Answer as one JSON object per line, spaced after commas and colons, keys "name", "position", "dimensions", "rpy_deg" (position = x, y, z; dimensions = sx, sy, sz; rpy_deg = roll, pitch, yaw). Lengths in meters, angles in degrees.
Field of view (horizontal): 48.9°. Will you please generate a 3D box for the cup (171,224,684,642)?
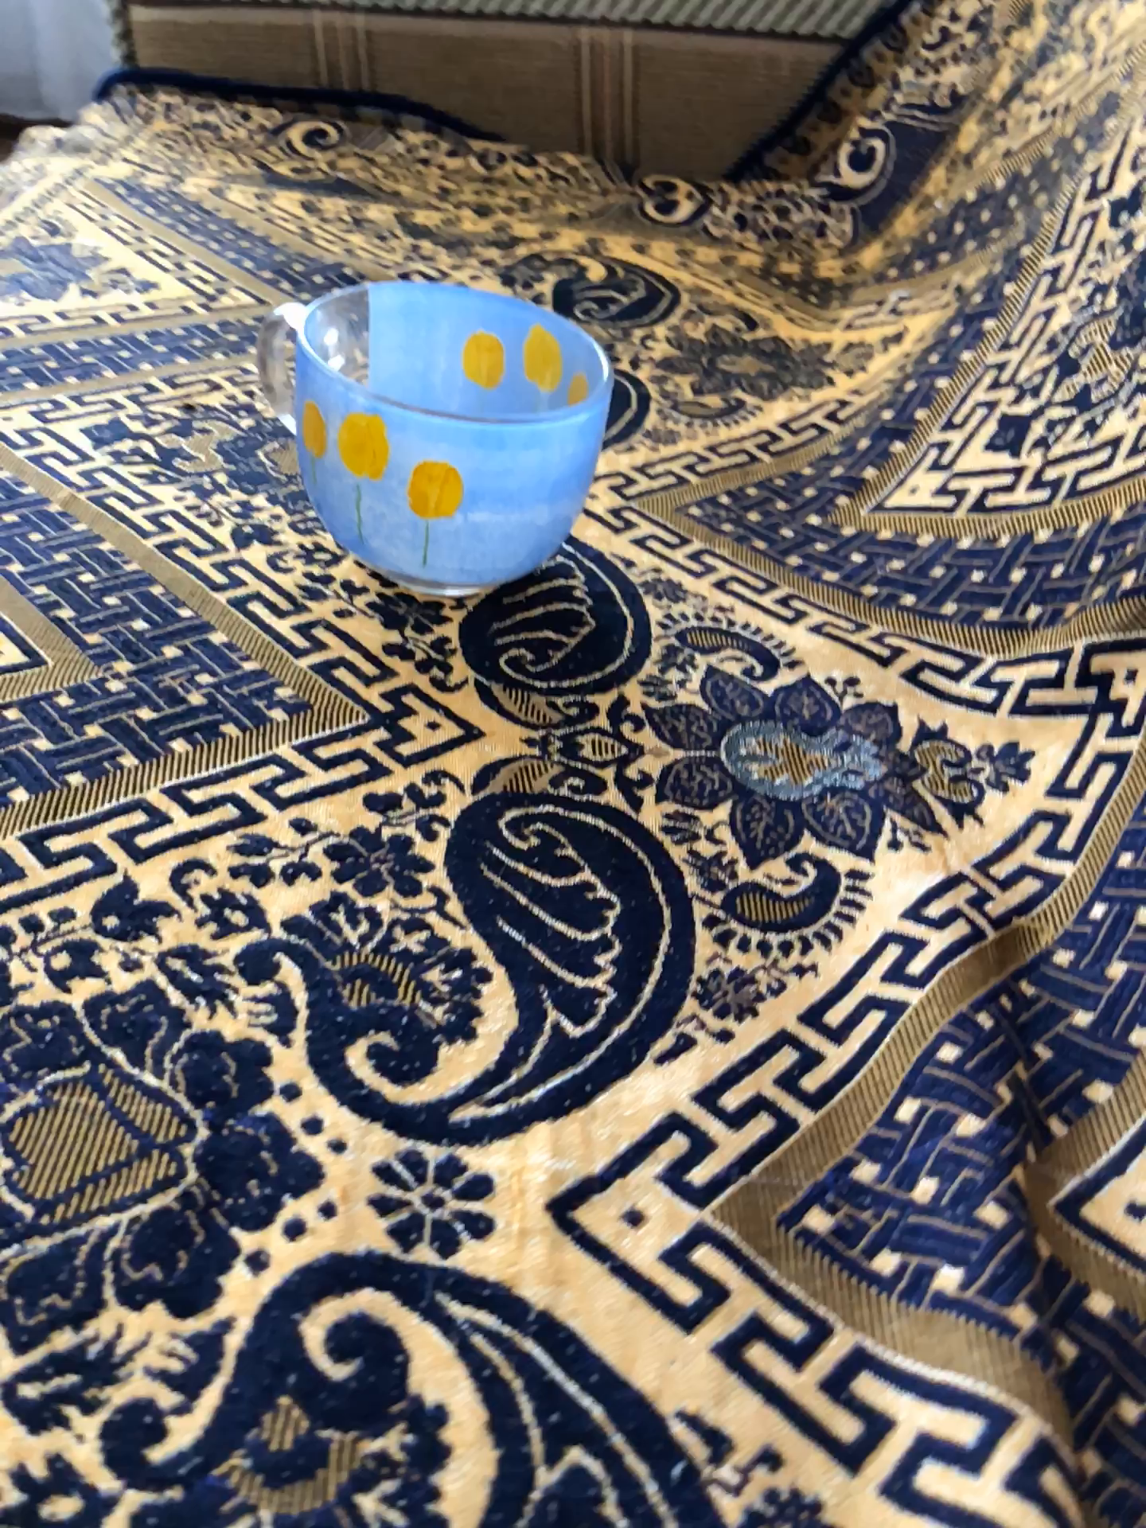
{"name": "cup", "position": [-0.052, -0.126, 0.457], "dimensions": [0.139, 0.072, 0.109], "rpy_deg": [28, 46, 20]}
